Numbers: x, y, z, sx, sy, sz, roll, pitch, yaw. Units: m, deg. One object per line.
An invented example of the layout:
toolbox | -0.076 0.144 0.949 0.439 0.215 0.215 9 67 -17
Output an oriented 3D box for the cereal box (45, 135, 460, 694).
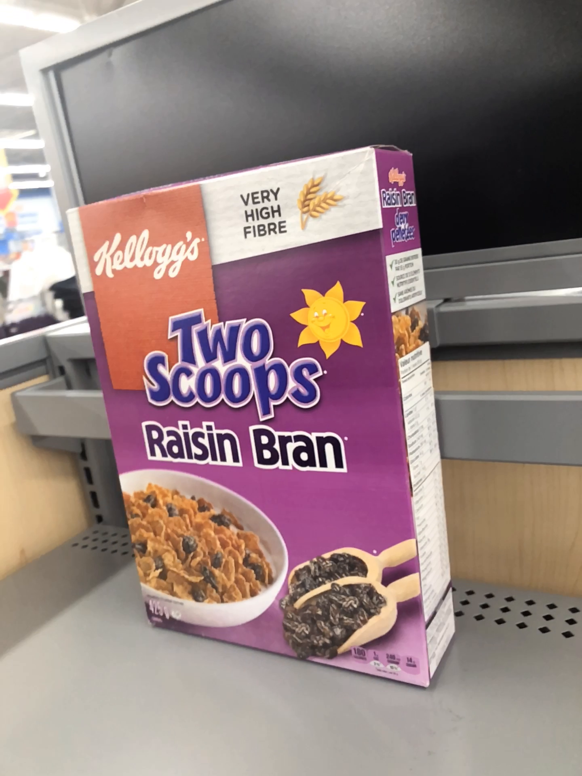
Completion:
cereal box | -0.024 0.018 0.373 0.210 0.269 0.050 -1 13 30
